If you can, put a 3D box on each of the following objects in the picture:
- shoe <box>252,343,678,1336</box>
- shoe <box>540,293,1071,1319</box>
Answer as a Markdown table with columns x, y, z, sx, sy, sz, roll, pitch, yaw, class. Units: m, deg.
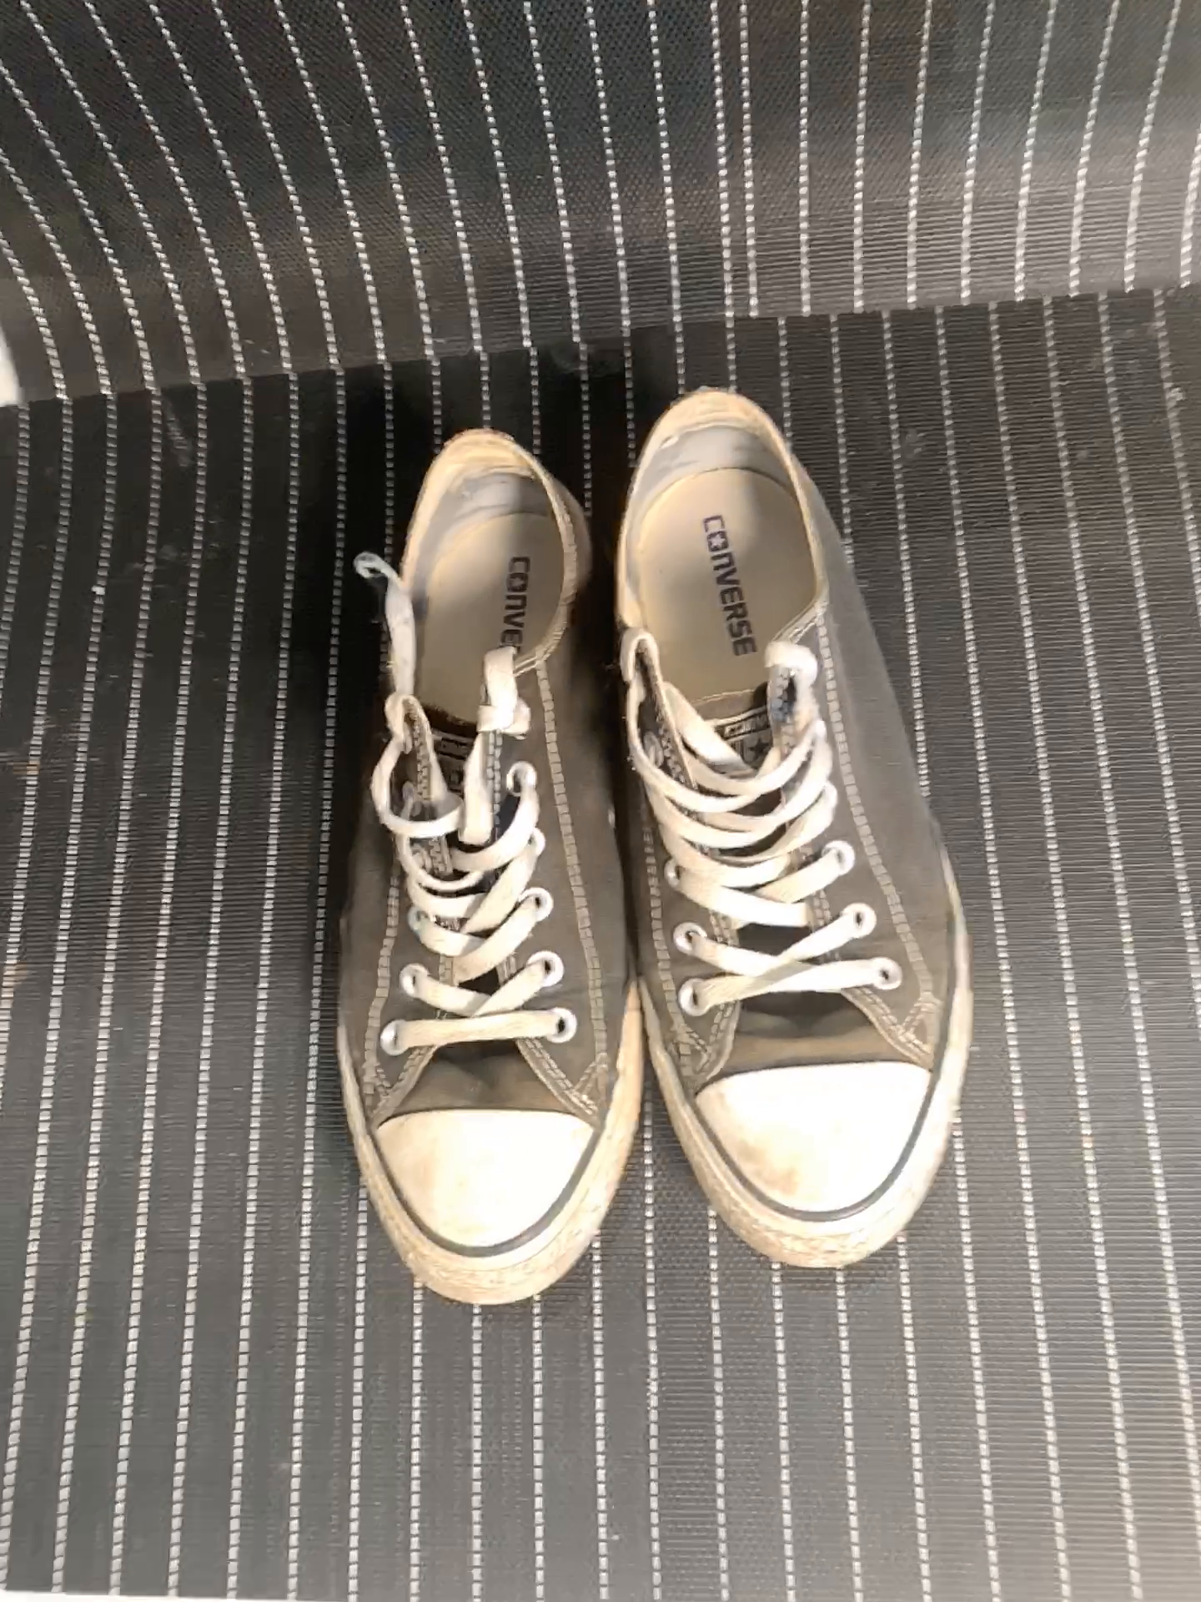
| x | y | z | sx | sy | sz | roll | pitch | yaw | class |
| --- | --- | --- | --- | --- | --- | --- | --- | --- | --- |
| -0.037 | 0.008 | 0.406 | 0.110 | 0.080 | 0.300 | -3 | 74 | 7 | shoe |
| 0.055 | -0.003 | 0.400 | 0.110 | 0.080 | 0.300 | -8 | 73 | 6 | shoe |
